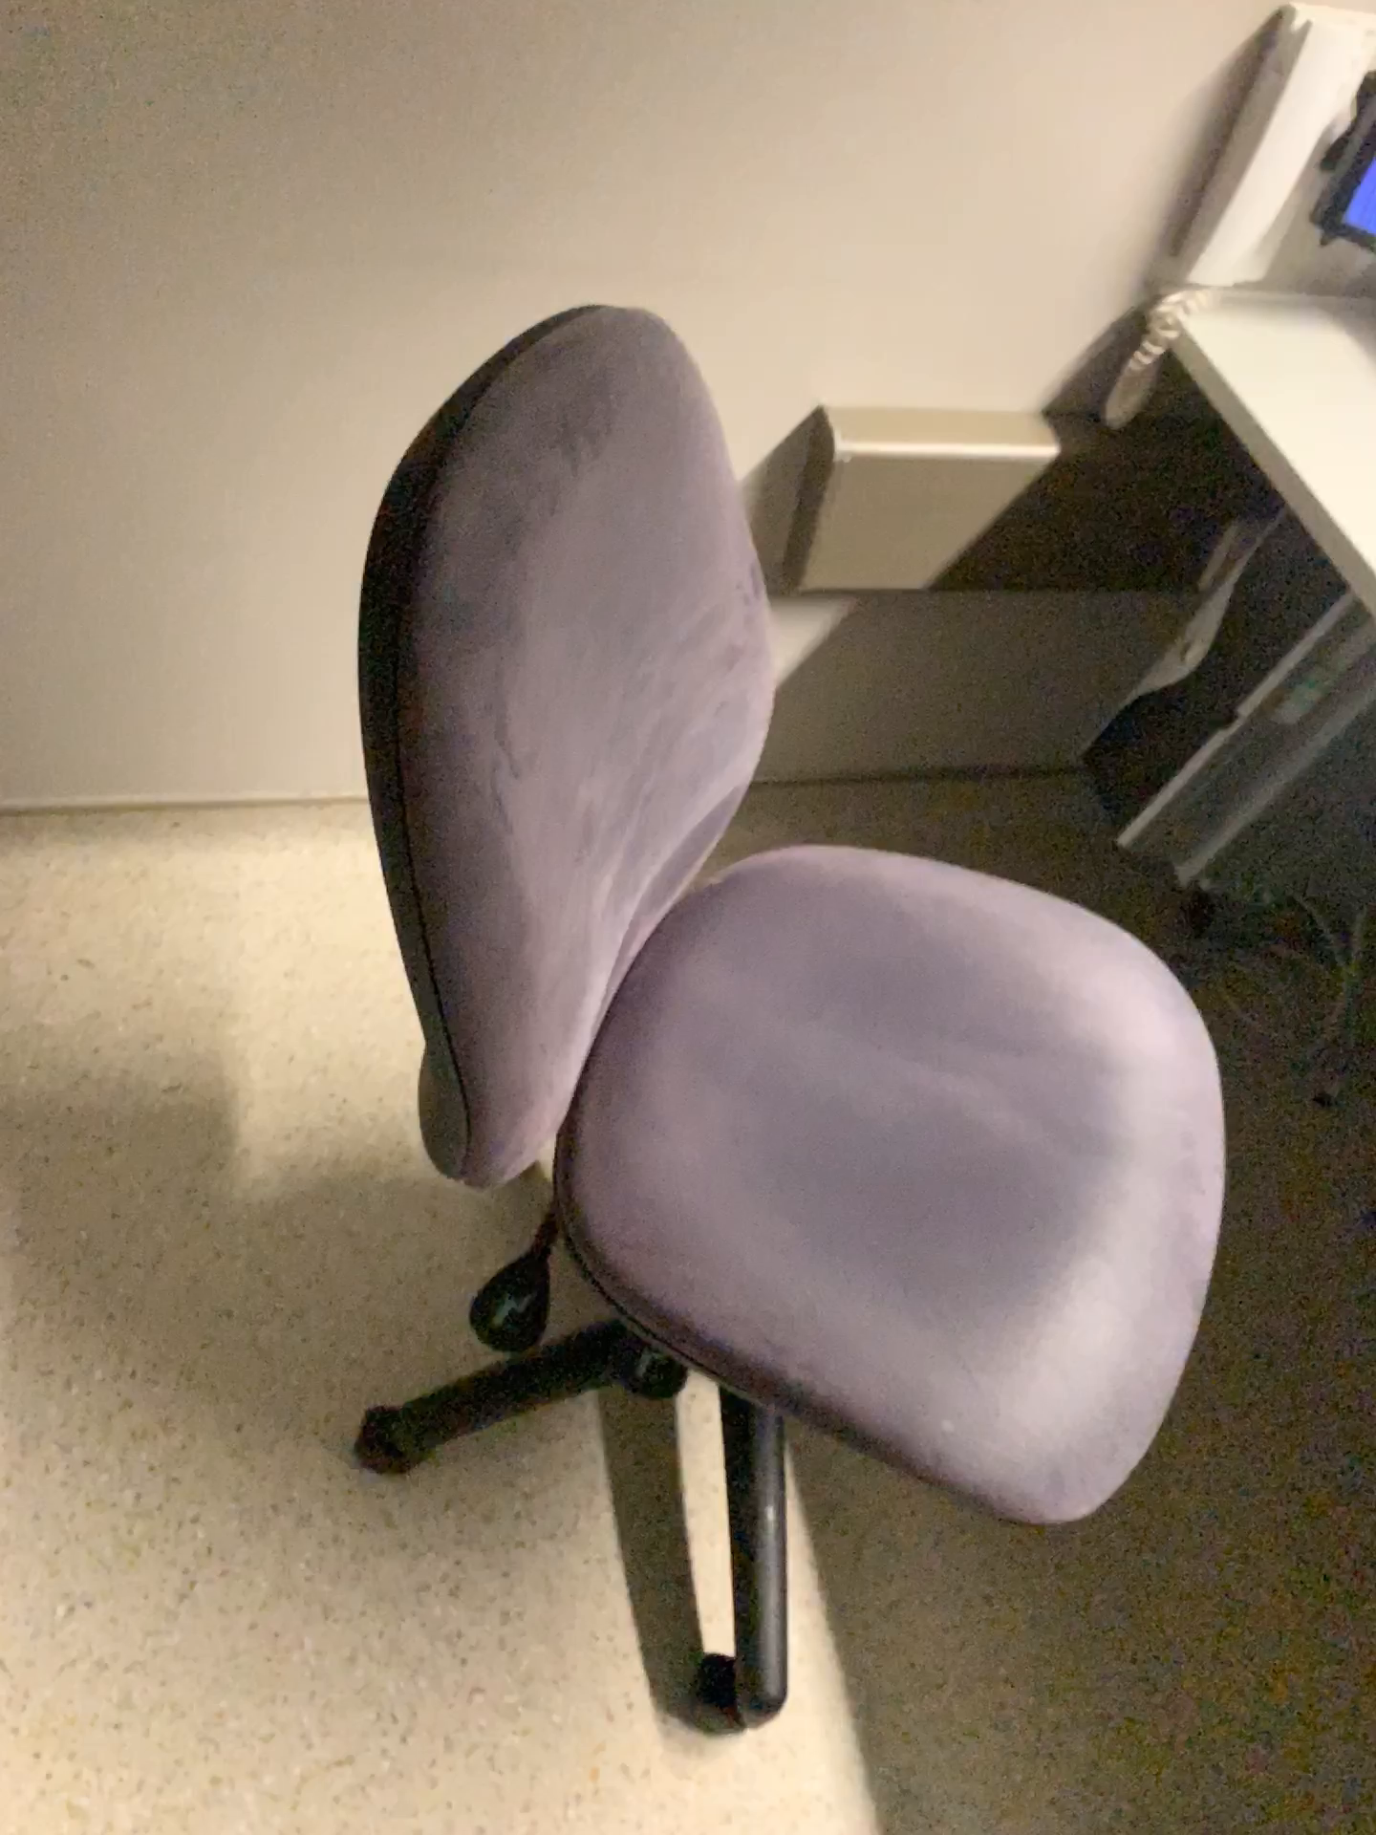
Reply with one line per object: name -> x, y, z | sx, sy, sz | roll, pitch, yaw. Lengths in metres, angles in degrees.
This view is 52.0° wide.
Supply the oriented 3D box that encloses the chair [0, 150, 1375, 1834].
chair -> 0.092, 0.120, 1.042 | 0.680, 0.902, 0.675 | 22, 50, 7
